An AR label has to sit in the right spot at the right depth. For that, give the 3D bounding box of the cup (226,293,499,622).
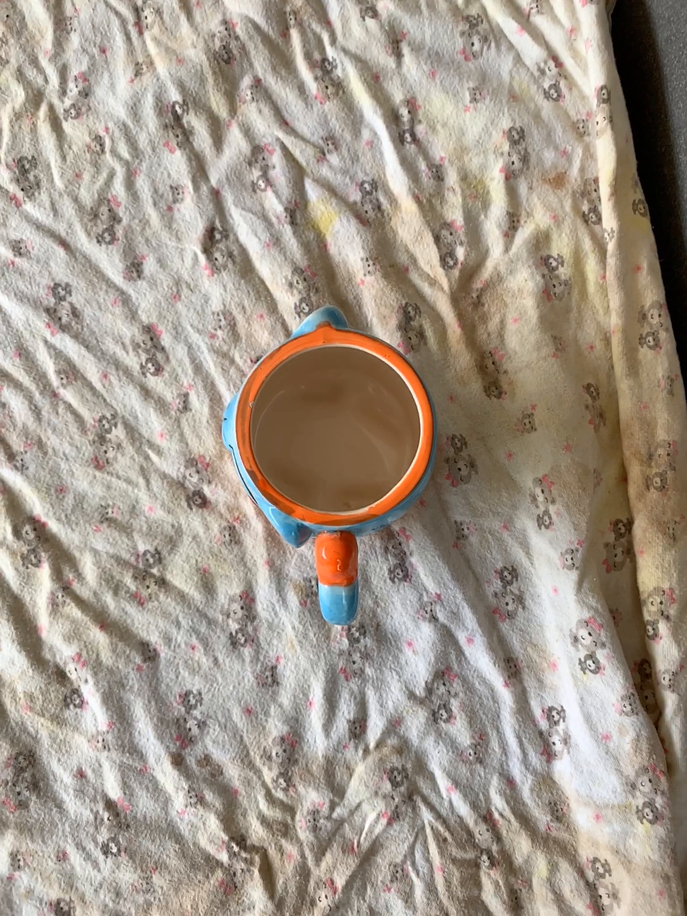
[{"bbox_3d":[0.004,0.003,0.283,0.090,0.090,0.110,-1,84,-2],"label":"cup"}]
